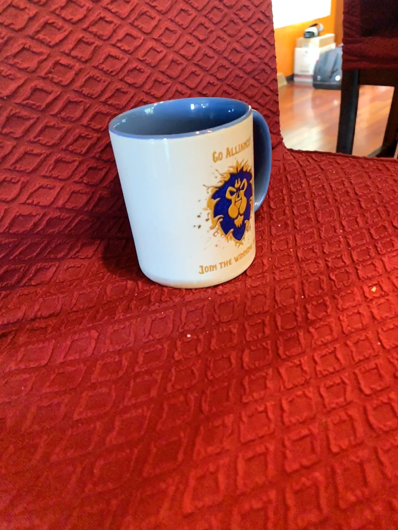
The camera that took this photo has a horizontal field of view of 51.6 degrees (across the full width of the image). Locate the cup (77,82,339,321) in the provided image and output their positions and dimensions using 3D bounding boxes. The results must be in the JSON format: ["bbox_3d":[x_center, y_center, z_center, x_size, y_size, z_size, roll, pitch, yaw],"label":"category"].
[{"bbox_3d":[0.012,-0.055,0.281,0.100,0.099,0.130,26,46,38],"label":"cup"}]
